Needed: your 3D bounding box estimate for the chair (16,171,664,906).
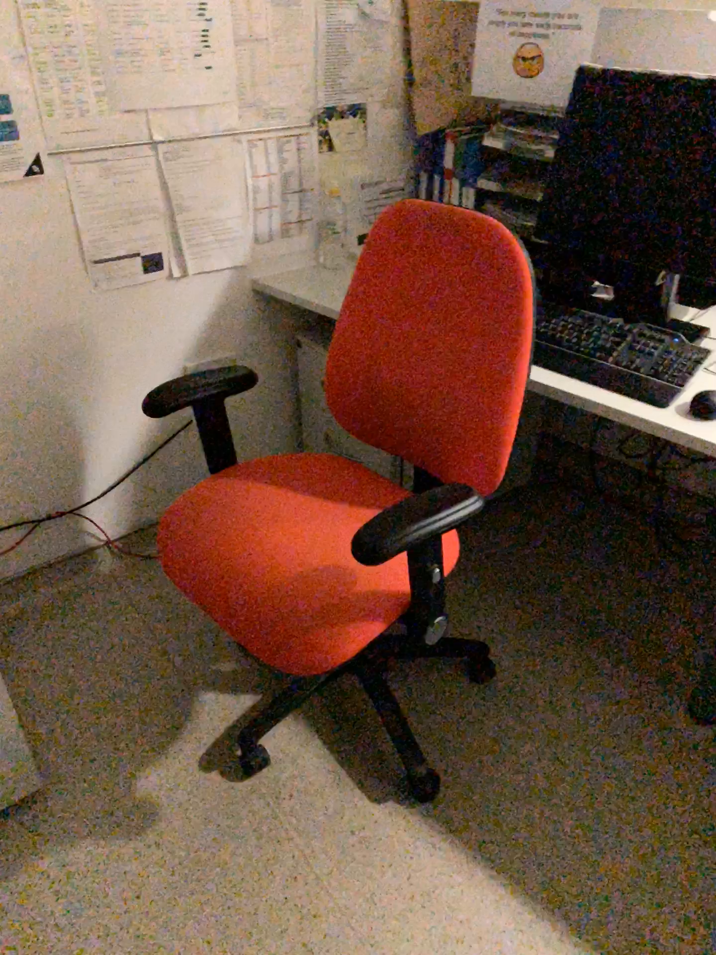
[{"bbox_3d":[-0.015,0.041,1.304,0.673,0.921,0.654,25,41,32],"label":"chair"}]
